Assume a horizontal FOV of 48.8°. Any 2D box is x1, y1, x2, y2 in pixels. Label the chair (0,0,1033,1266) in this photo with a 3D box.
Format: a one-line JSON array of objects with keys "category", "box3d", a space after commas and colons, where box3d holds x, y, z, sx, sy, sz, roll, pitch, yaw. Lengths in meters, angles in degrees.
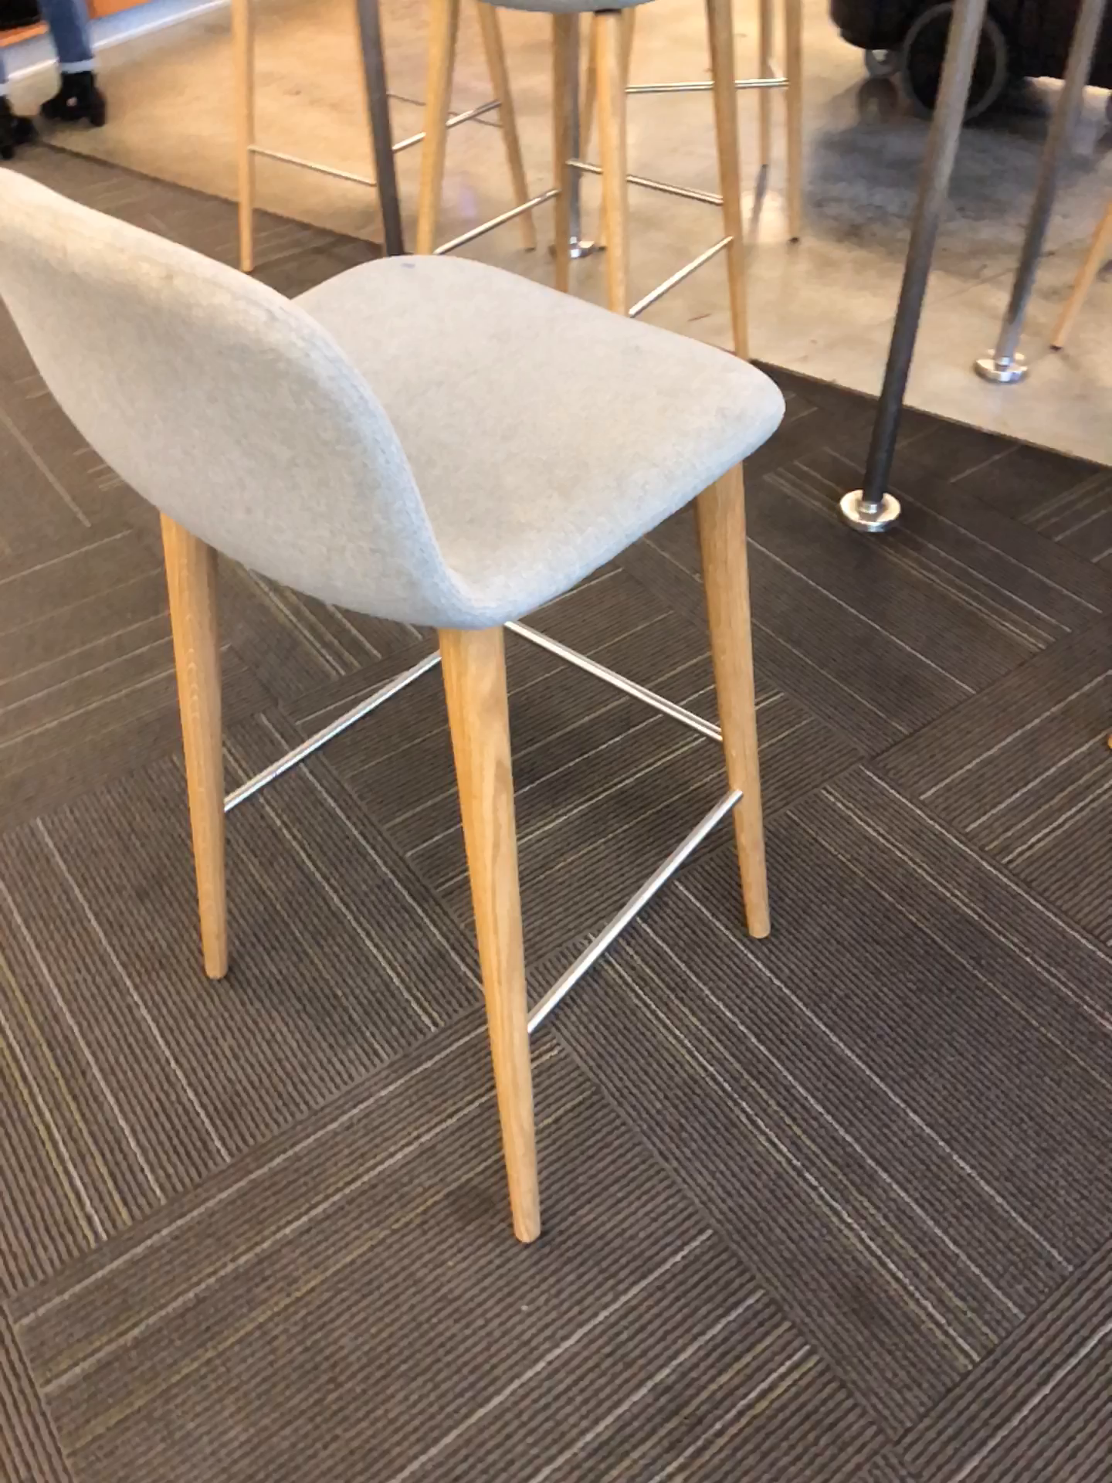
[{"category": "chair", "box3d": [-0.069, -0.124, 1.121, 0.571, 0.946, 0.561, 29, 51, 29]}]
